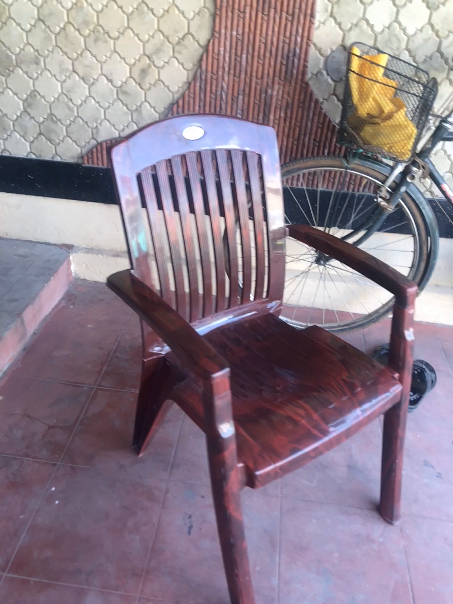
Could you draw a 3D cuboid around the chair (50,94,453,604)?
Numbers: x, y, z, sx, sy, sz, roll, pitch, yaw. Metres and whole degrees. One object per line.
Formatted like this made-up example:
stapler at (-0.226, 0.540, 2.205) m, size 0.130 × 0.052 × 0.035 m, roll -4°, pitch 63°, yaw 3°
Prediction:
chair at (0.087, 0.087, 1.077) m, size 0.592 × 0.845 × 0.701 m, roll -18°, pitch 39°, yaw -30°
